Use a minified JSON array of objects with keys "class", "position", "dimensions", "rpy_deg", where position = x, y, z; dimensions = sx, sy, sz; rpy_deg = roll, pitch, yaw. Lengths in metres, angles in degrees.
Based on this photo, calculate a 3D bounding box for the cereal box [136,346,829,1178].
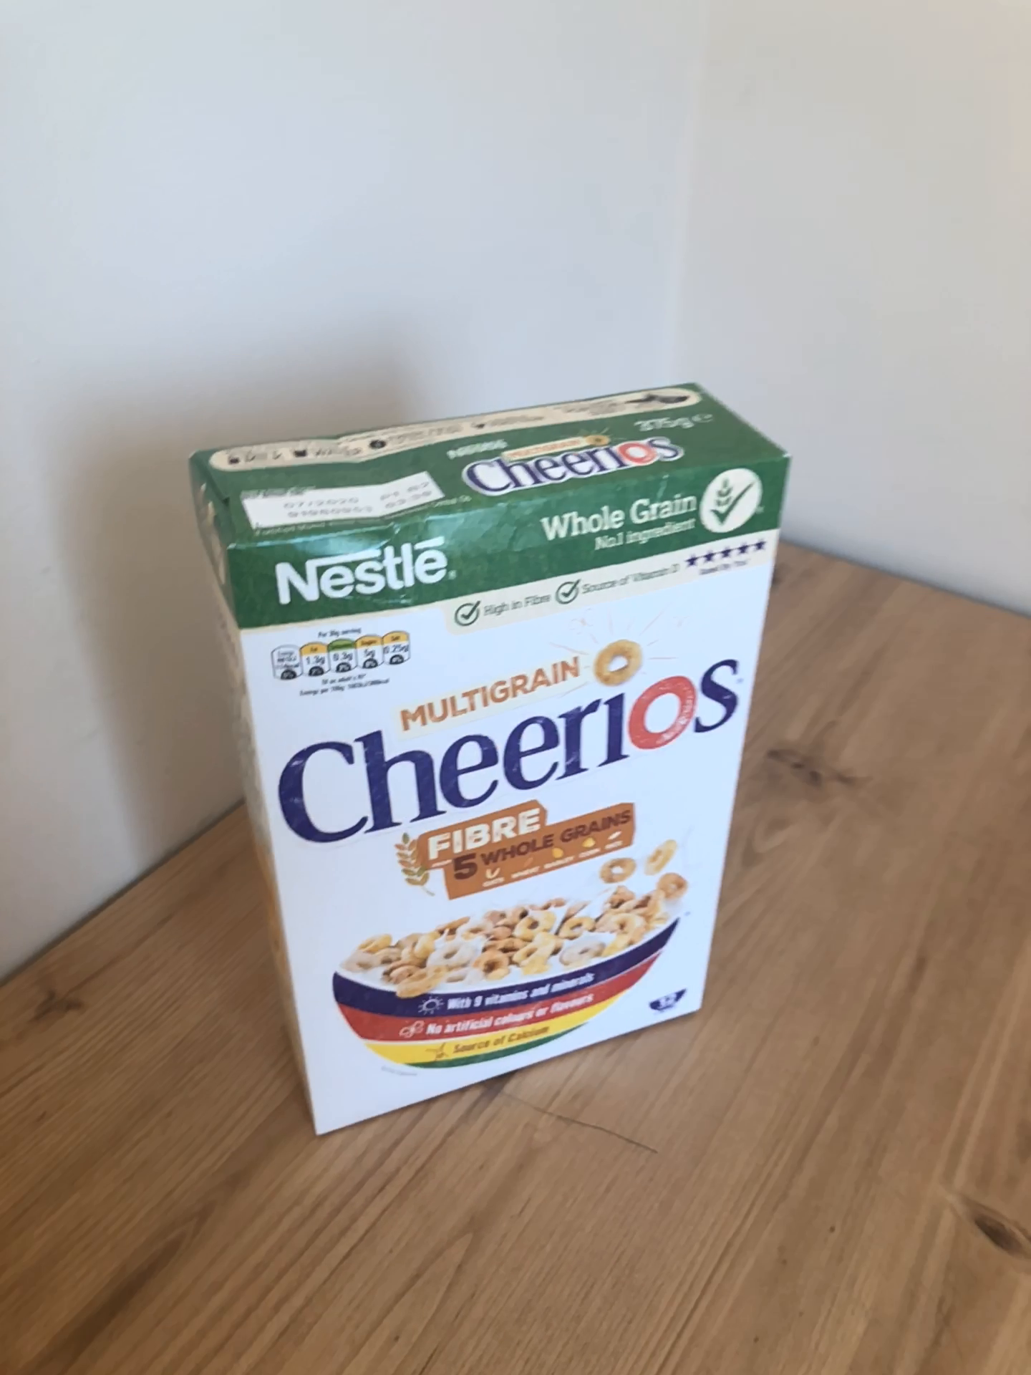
[{"class":"cereal box","position":[-0.013,0.039,0.461],"dimensions":[0.210,0.308,0.080],"rpy_deg":[-12,38,-19]}]
